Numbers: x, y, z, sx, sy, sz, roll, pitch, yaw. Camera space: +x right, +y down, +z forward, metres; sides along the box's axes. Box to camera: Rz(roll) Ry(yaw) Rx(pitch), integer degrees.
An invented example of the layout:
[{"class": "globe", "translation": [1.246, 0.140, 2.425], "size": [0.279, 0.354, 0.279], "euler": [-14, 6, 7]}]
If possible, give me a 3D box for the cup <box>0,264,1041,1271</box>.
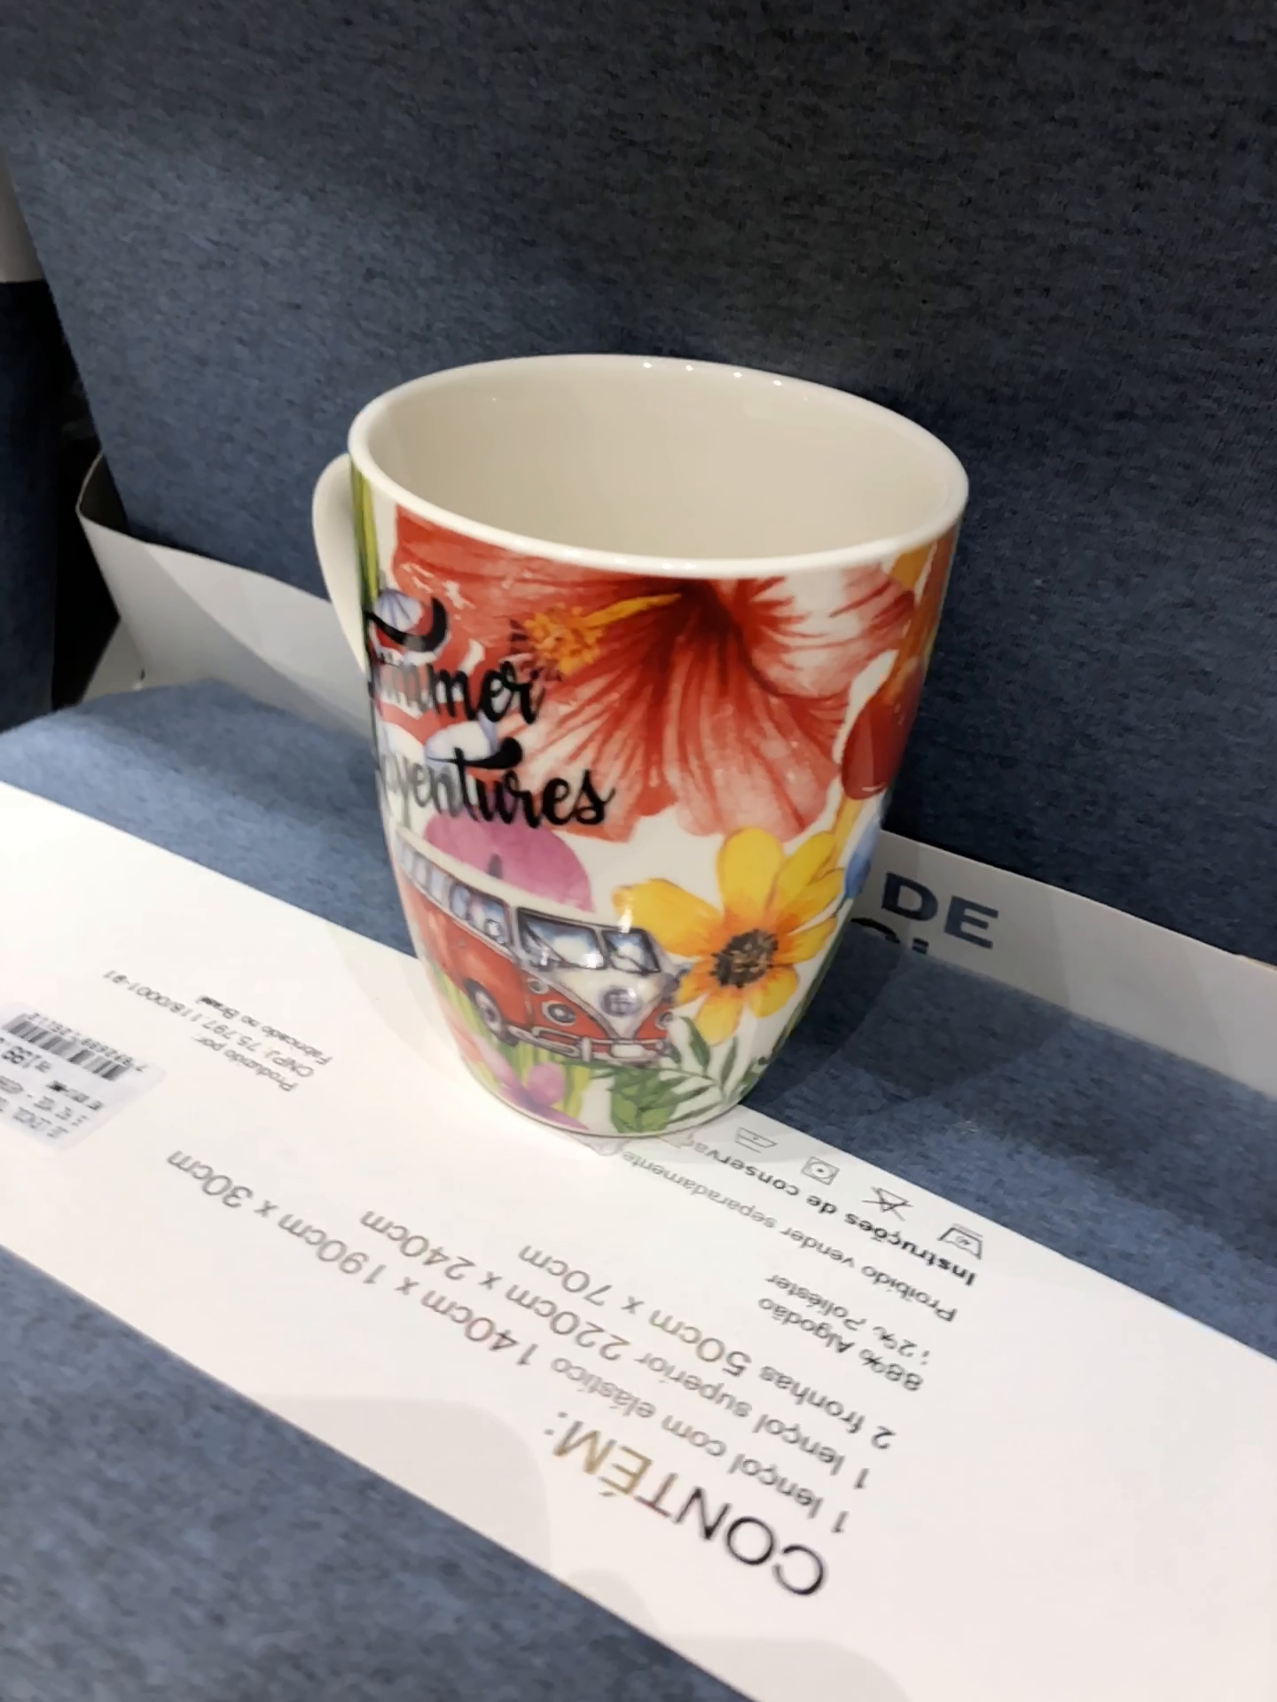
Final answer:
[{"class": "cup", "translation": [-0.019, -0.024, 0.210], "size": [0.110, 0.090, 0.090], "euler": [23, 34, 23]}]
